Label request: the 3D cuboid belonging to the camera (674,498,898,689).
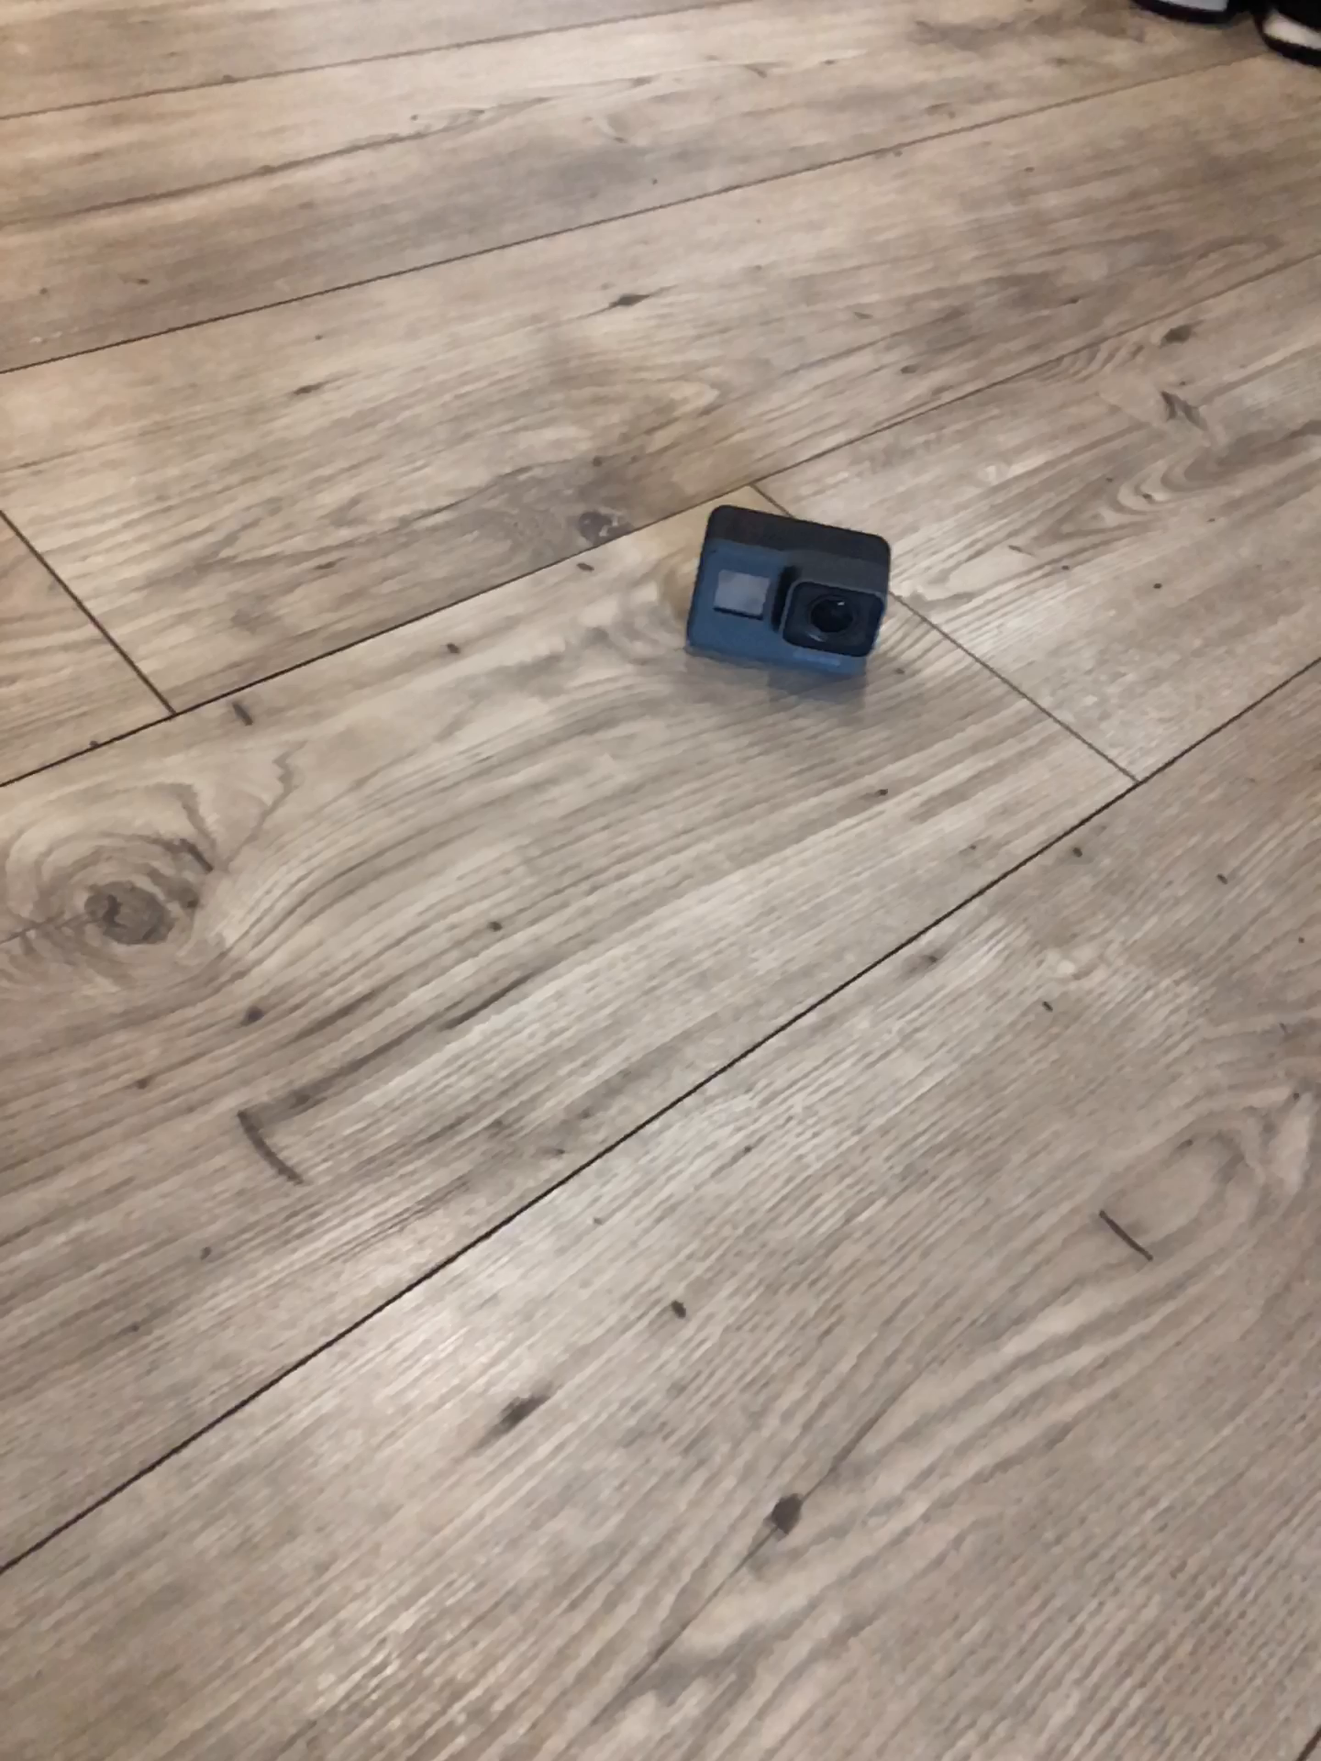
[{"bbox_3d":[0.041,-0.094,0.482,0.065,0.040,0.032,11,48,-2],"label":"camera"}]
